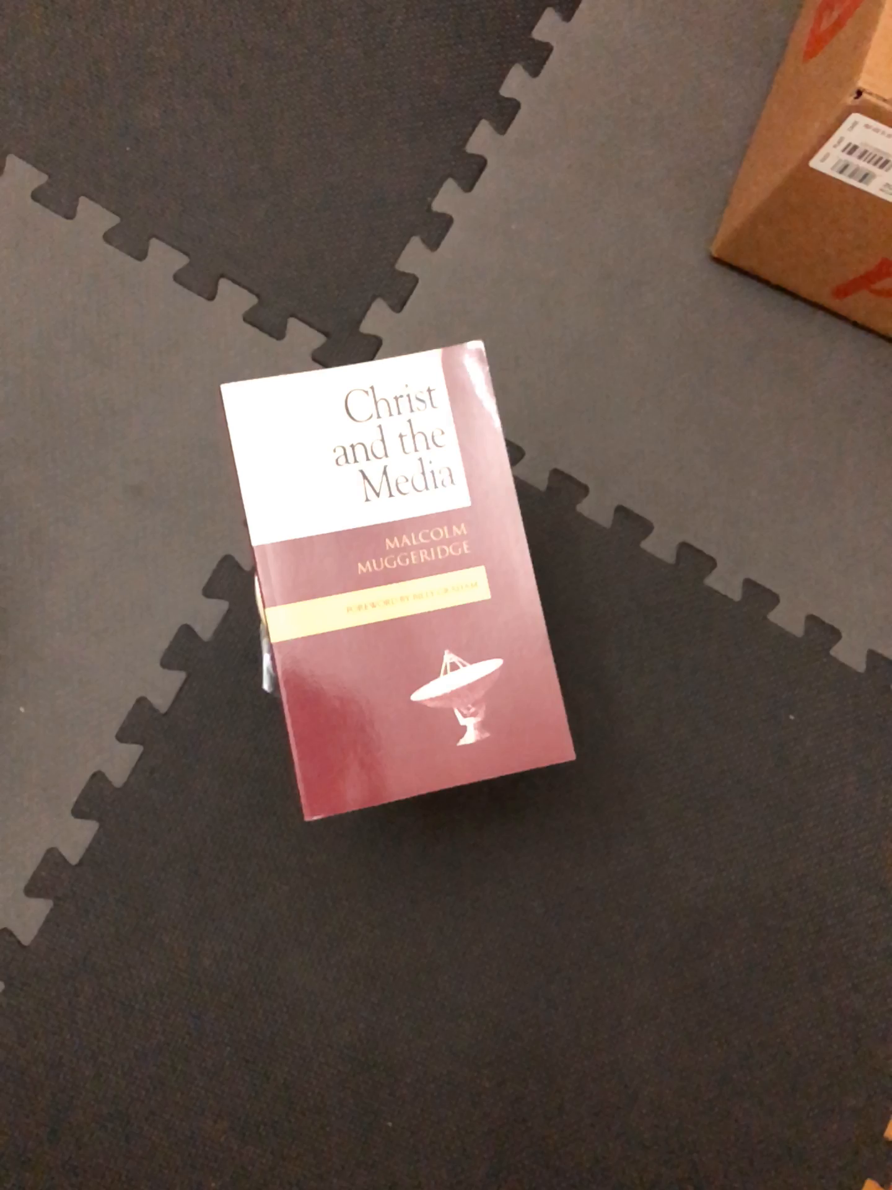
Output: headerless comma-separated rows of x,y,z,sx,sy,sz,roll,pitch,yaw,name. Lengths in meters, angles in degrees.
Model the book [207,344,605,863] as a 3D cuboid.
-0.019,0.000,0.448,0.140,0.020,0.210,-11,85,-9,book
